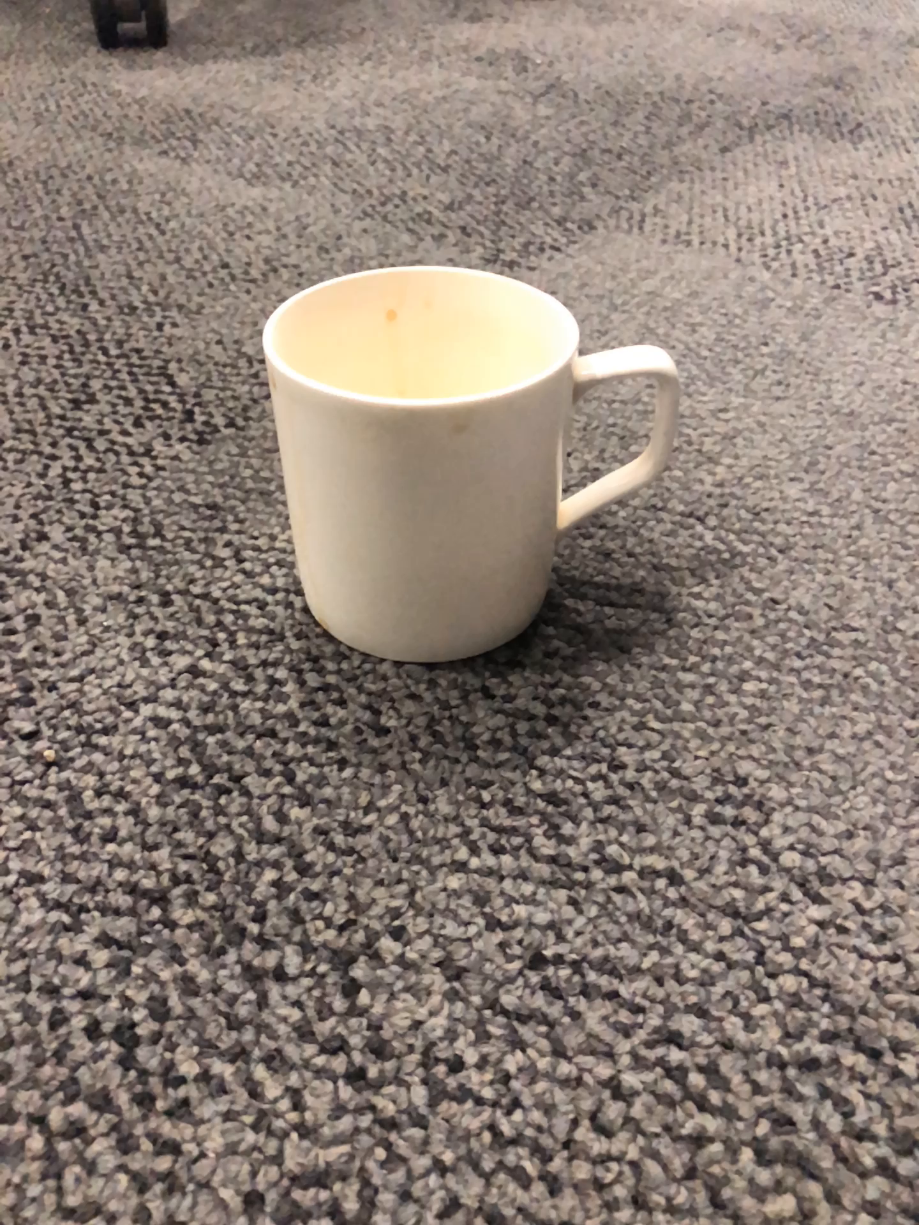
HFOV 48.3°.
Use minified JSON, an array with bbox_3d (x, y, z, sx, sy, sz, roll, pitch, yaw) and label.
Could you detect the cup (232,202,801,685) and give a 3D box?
[{"bbox_3d":[0.007,-0.041,0.232,0.100,0.070,0.070,-10,41,-11],"label":"cup"}]
